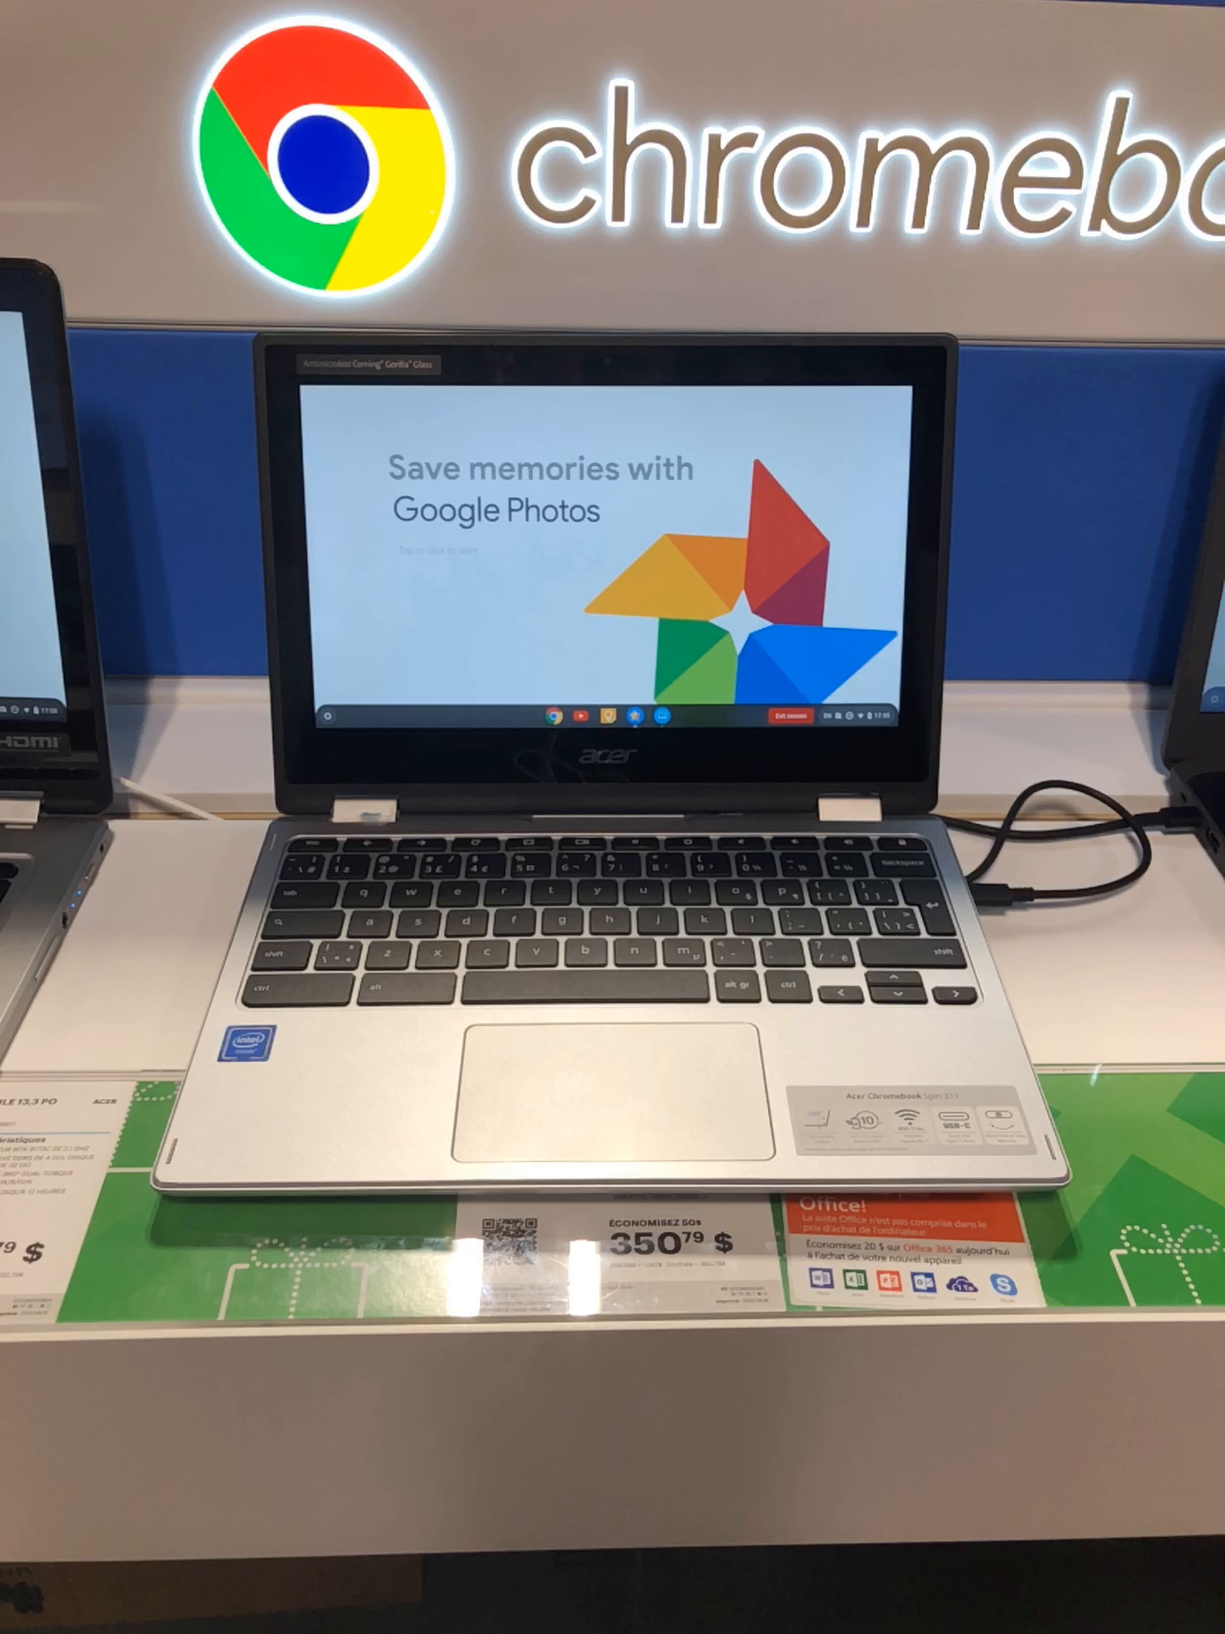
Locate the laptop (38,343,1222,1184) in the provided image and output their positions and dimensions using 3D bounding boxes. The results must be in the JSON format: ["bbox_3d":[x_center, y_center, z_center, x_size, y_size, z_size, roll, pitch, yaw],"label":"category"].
[{"bbox_3d":[0.000,-0.038,0.488,0.284,0.181,0.274,0,35,-2],"label":"laptop"}]
